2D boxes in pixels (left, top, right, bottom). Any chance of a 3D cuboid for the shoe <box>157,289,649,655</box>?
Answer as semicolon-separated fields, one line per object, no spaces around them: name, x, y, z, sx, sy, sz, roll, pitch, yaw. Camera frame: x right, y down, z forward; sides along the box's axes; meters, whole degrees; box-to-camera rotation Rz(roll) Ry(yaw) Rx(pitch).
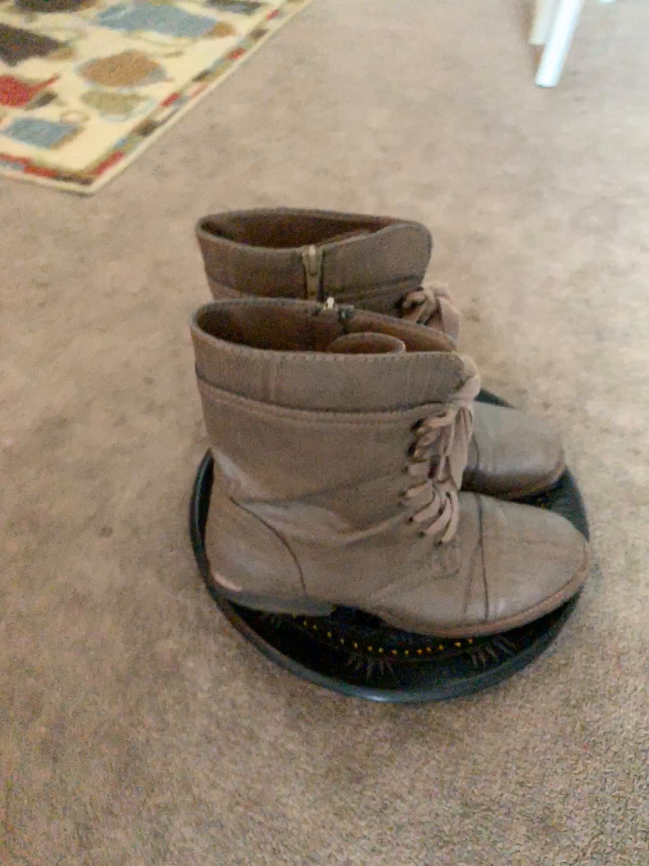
shoe;0.064;0.035;0.385;0.270;0.198;0.101;2;49;-2

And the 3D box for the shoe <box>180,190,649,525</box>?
shoe;0.059;-0.039;0.453;0.270;0.198;0.101;2;49;-2
